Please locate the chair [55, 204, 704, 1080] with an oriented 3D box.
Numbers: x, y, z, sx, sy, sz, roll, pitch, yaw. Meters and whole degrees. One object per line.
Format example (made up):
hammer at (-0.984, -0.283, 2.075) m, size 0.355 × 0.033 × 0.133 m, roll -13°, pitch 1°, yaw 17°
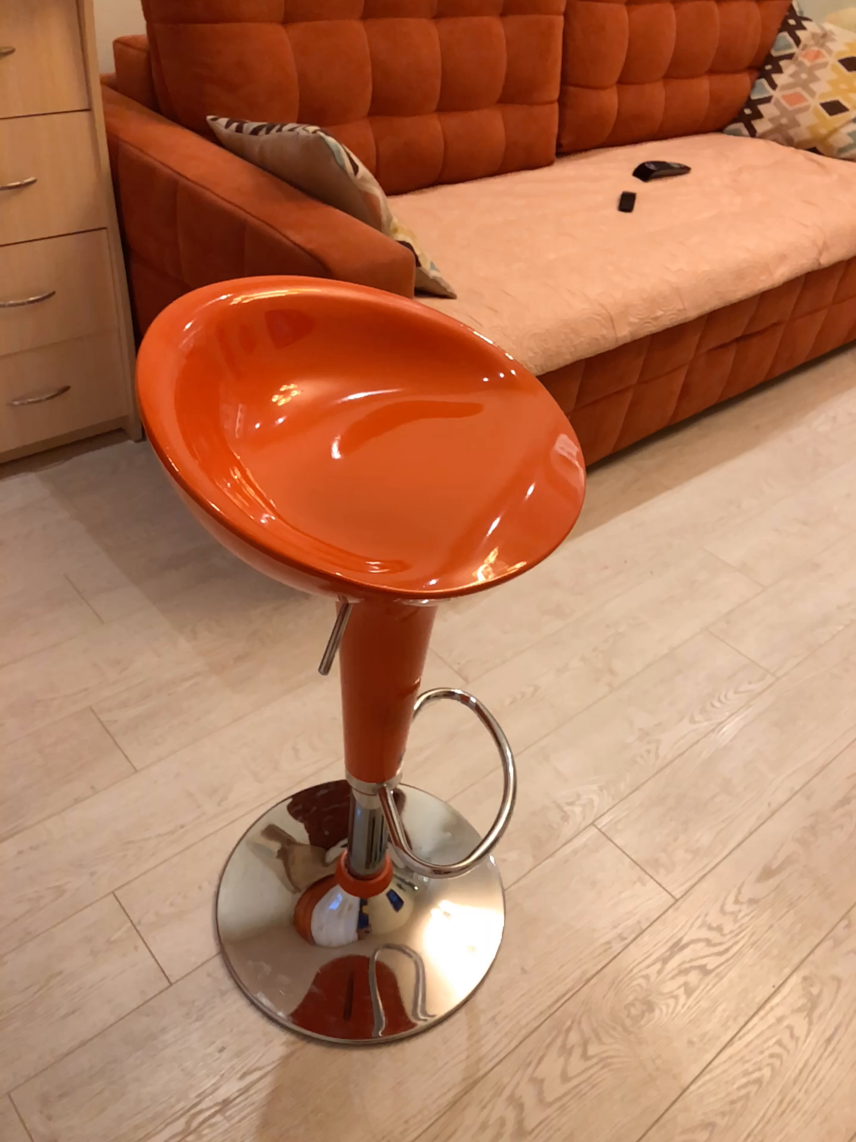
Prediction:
chair at (-0.031, 0.098, 0.936) m, size 0.390 × 0.735 × 0.403 m, roll 10°, pitch 39°, yaw 5°
